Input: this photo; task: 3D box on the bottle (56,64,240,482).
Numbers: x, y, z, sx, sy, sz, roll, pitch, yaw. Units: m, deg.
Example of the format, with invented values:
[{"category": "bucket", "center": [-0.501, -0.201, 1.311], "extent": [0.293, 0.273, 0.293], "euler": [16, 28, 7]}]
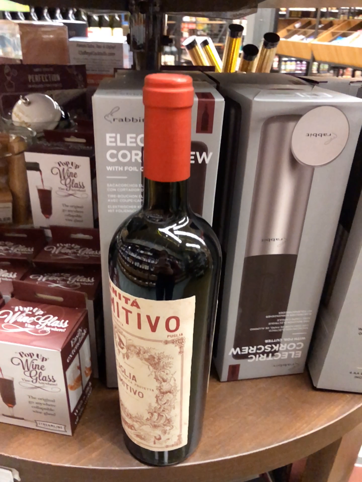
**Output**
[{"category": "bottle", "center": [-0.021, 0.039, 0.288], "extent": [0.071, 0.299, 0.072], "euler": [1, 28, 0]}]
